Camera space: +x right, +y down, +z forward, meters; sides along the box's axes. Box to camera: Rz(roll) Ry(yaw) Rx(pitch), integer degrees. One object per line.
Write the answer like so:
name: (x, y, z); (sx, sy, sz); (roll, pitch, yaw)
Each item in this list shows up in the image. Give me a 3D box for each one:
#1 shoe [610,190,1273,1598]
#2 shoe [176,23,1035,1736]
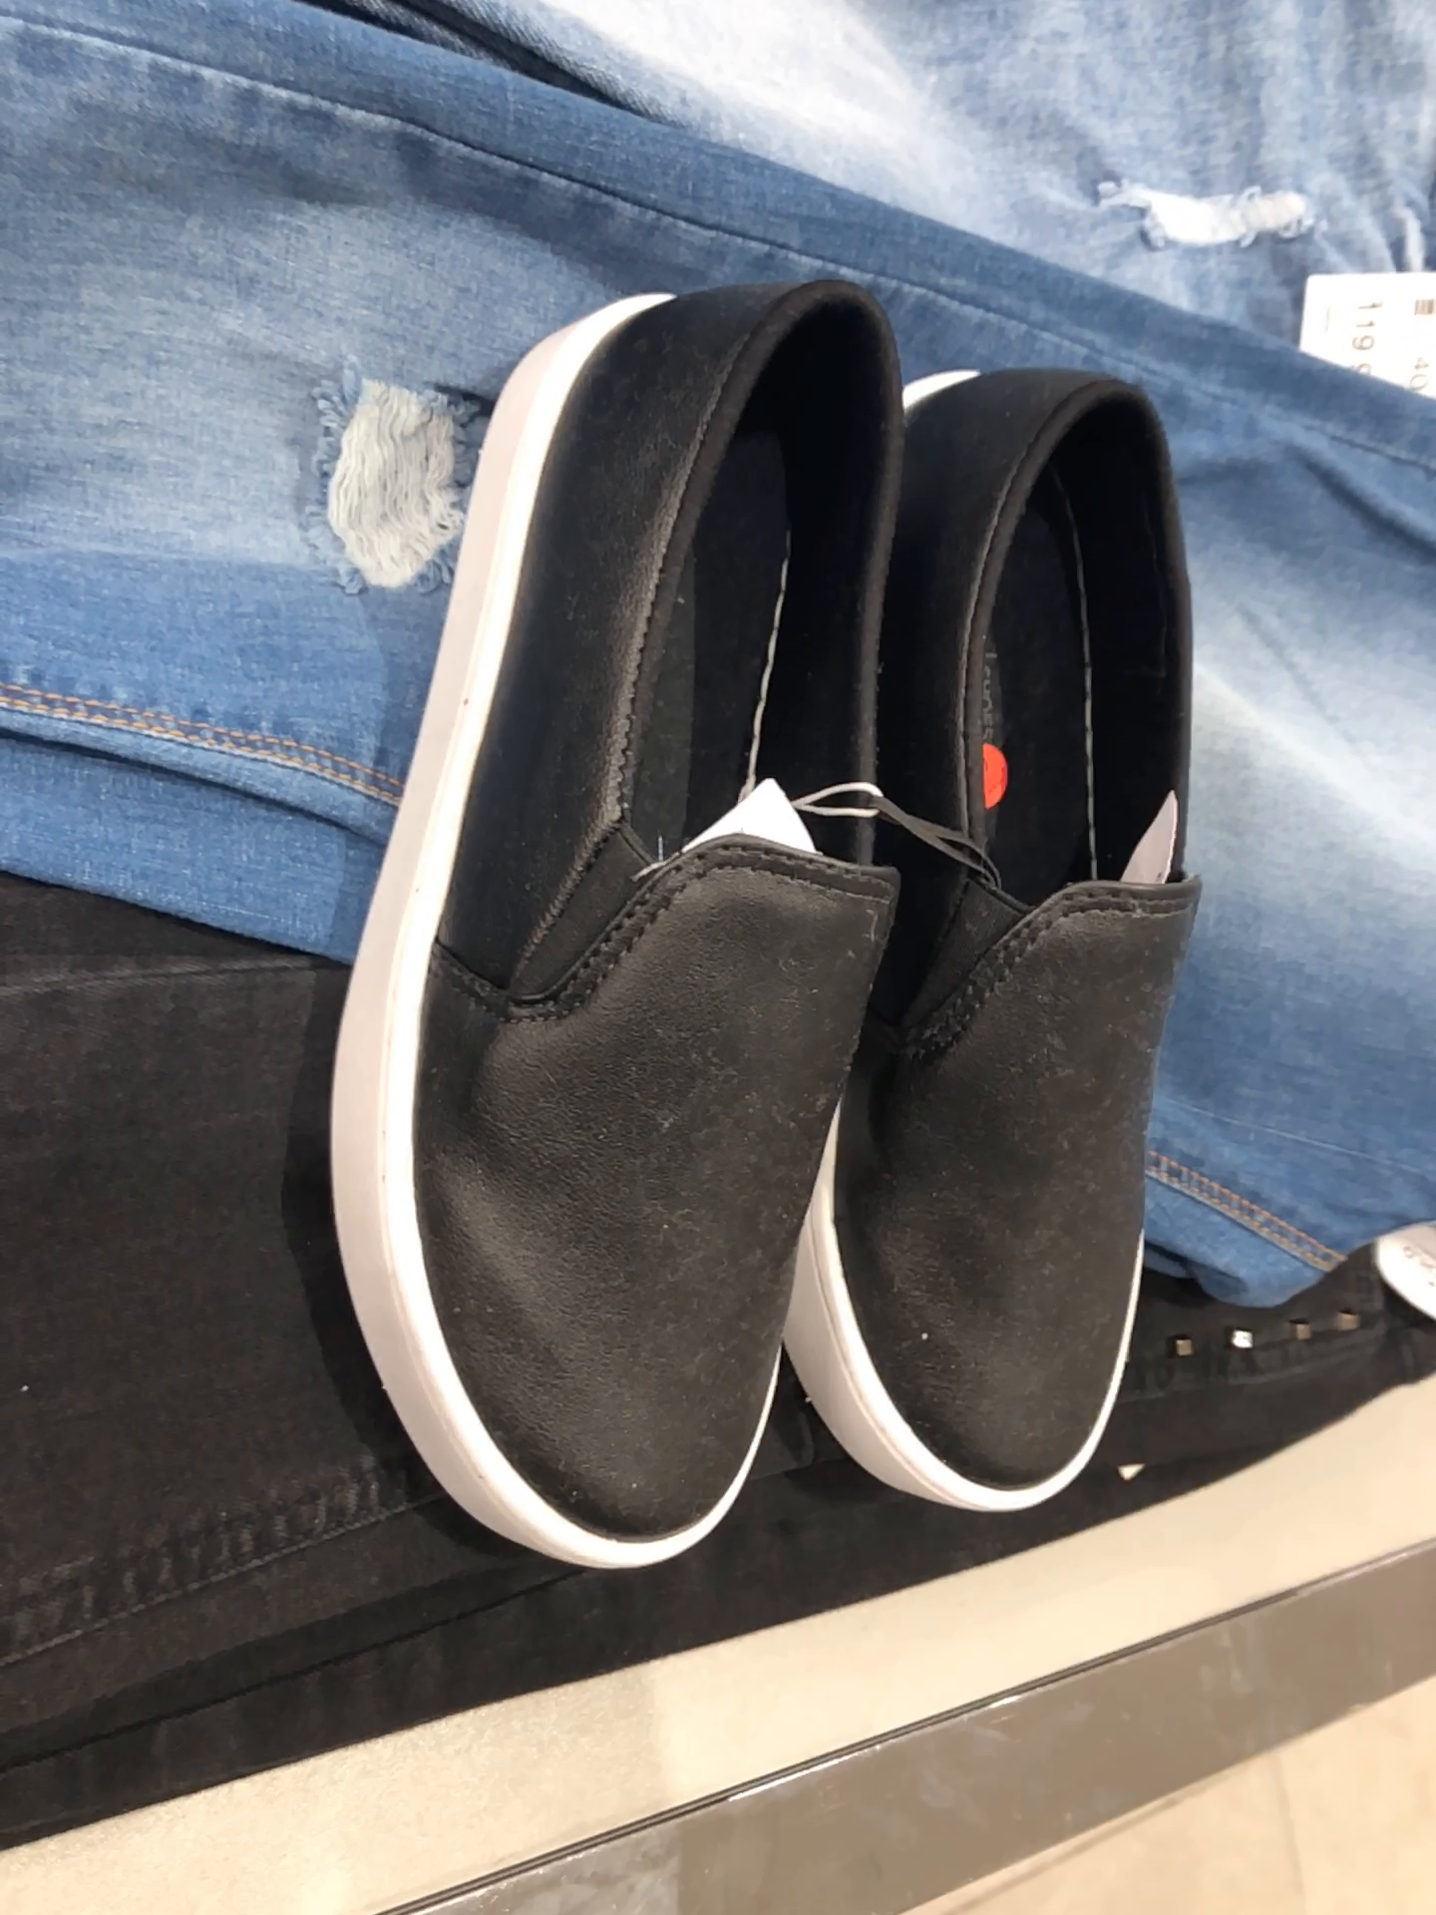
shoe: (0.050, -0.013, 0.367); (0.111, 0.099, 0.260); (-2, 92, -33)
shoe: (-0.024, -0.010, 0.312); (0.111, 0.099, 0.260); (7, 87, -31)
